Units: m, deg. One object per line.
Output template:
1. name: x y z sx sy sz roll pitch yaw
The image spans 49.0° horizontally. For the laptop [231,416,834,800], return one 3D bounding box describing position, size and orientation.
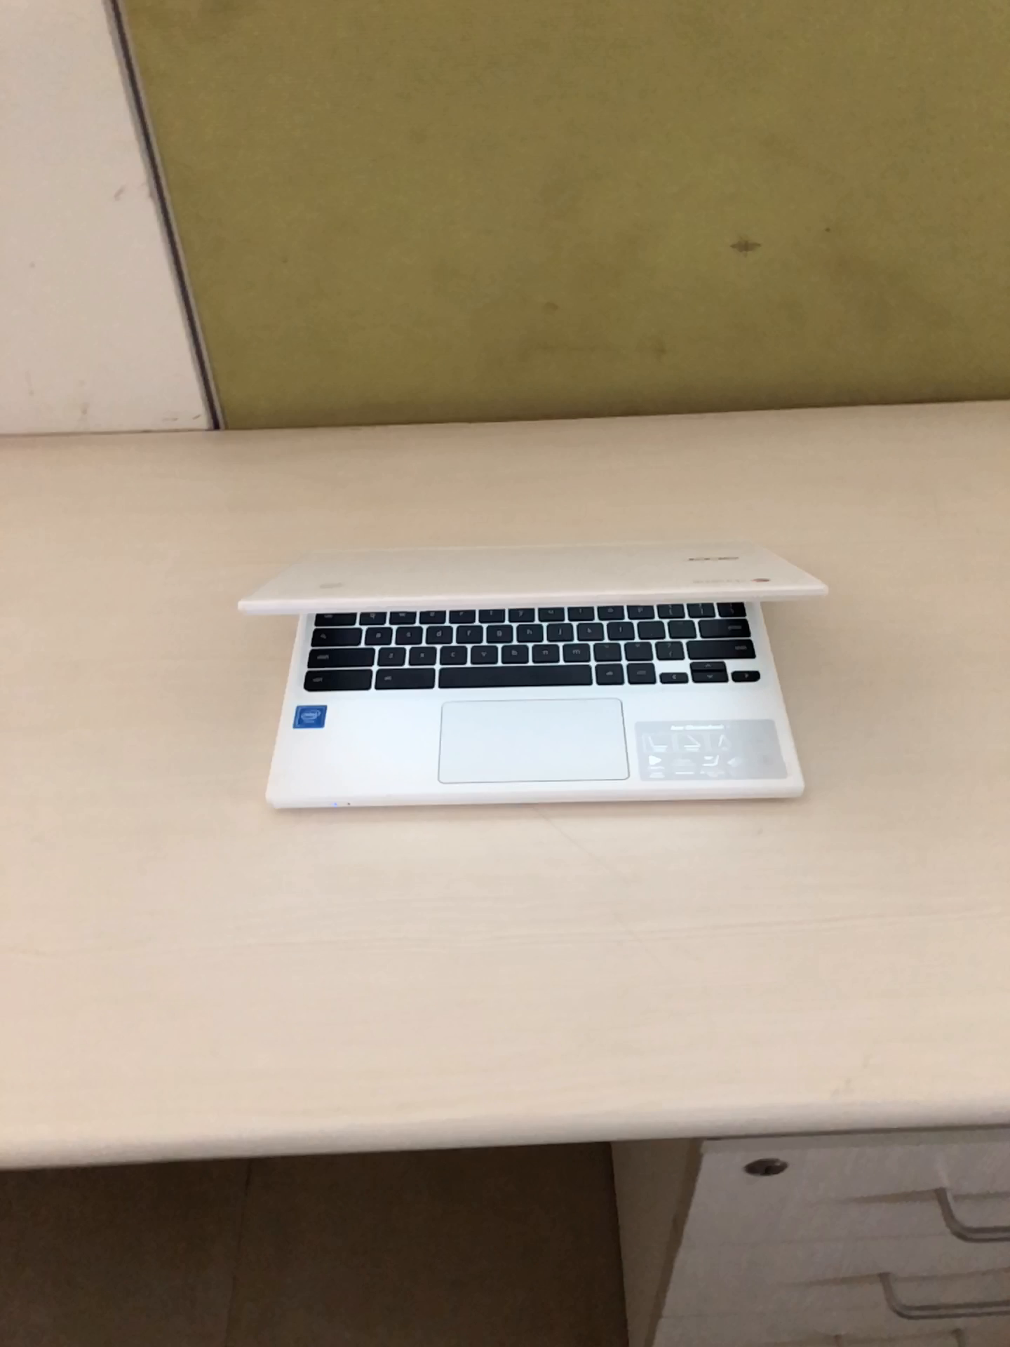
1. laptop: 0.013 -0.043 0.637 0.289 0.105 0.197 -1 47 0
